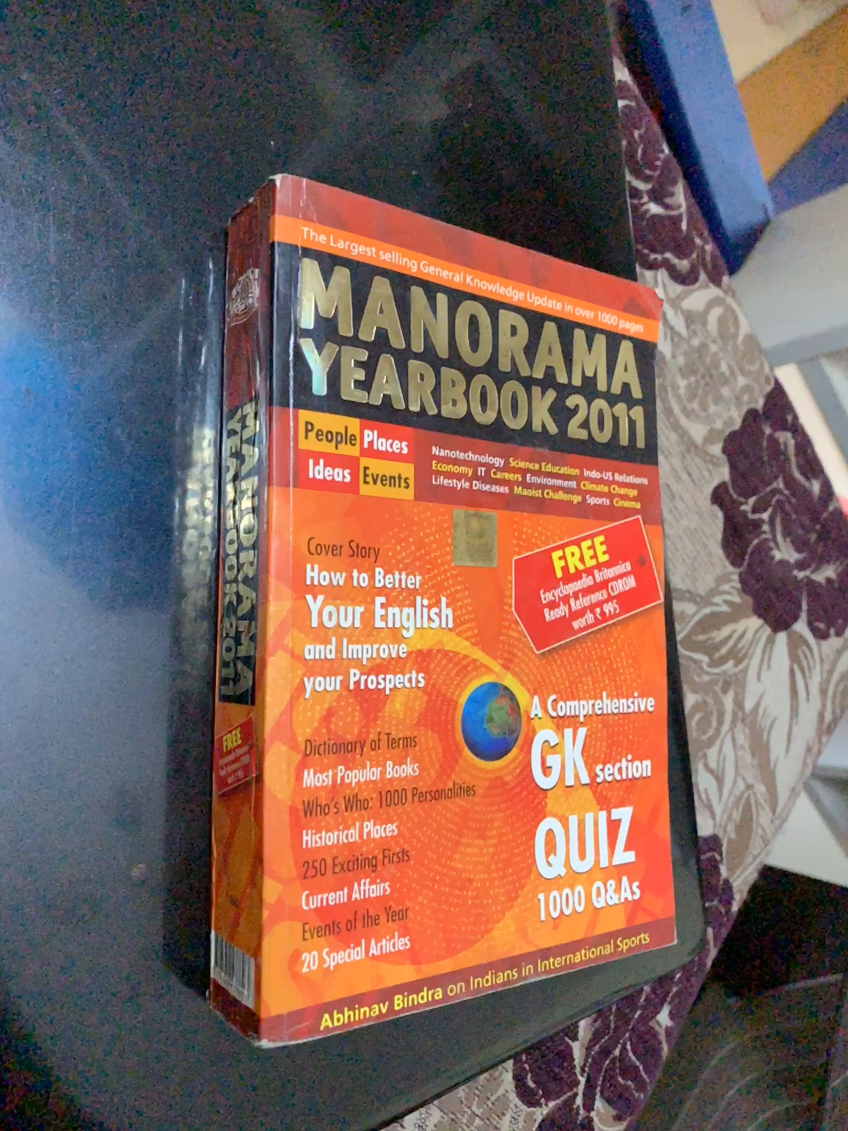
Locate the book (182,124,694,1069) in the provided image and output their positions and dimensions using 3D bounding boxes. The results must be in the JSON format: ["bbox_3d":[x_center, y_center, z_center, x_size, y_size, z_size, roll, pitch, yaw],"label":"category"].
[{"bbox_3d":[0.009,0.007,0.257,0.141,0.050,0.210,4,82,-36],"label":"book"}]
